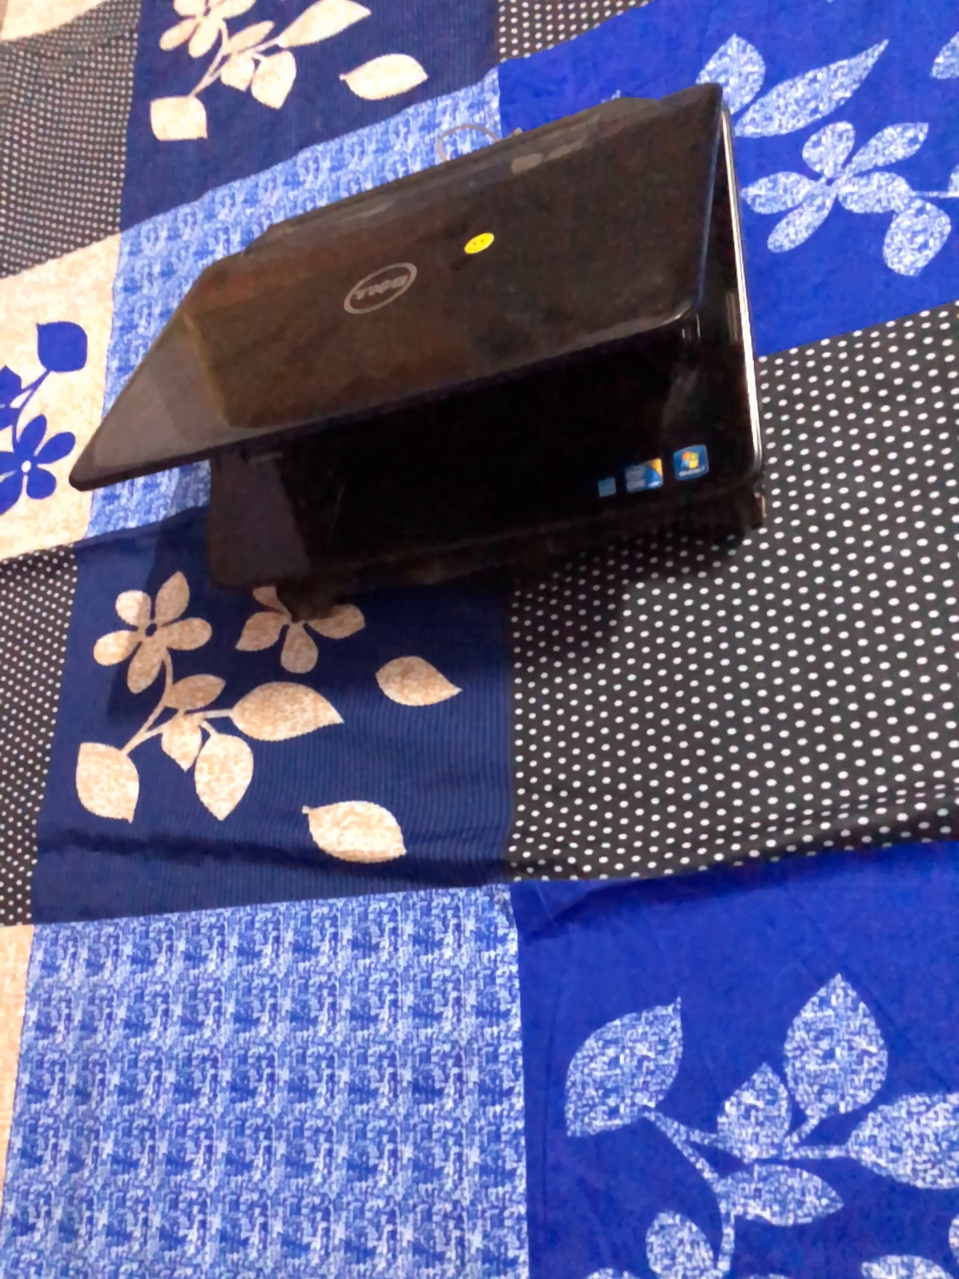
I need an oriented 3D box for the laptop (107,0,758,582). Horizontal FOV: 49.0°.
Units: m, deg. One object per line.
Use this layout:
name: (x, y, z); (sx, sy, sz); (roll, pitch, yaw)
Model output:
laptop: (-0.042, -0.189, 0.612); (0.362, 0.092, 0.236); (-8, 75, 25)
